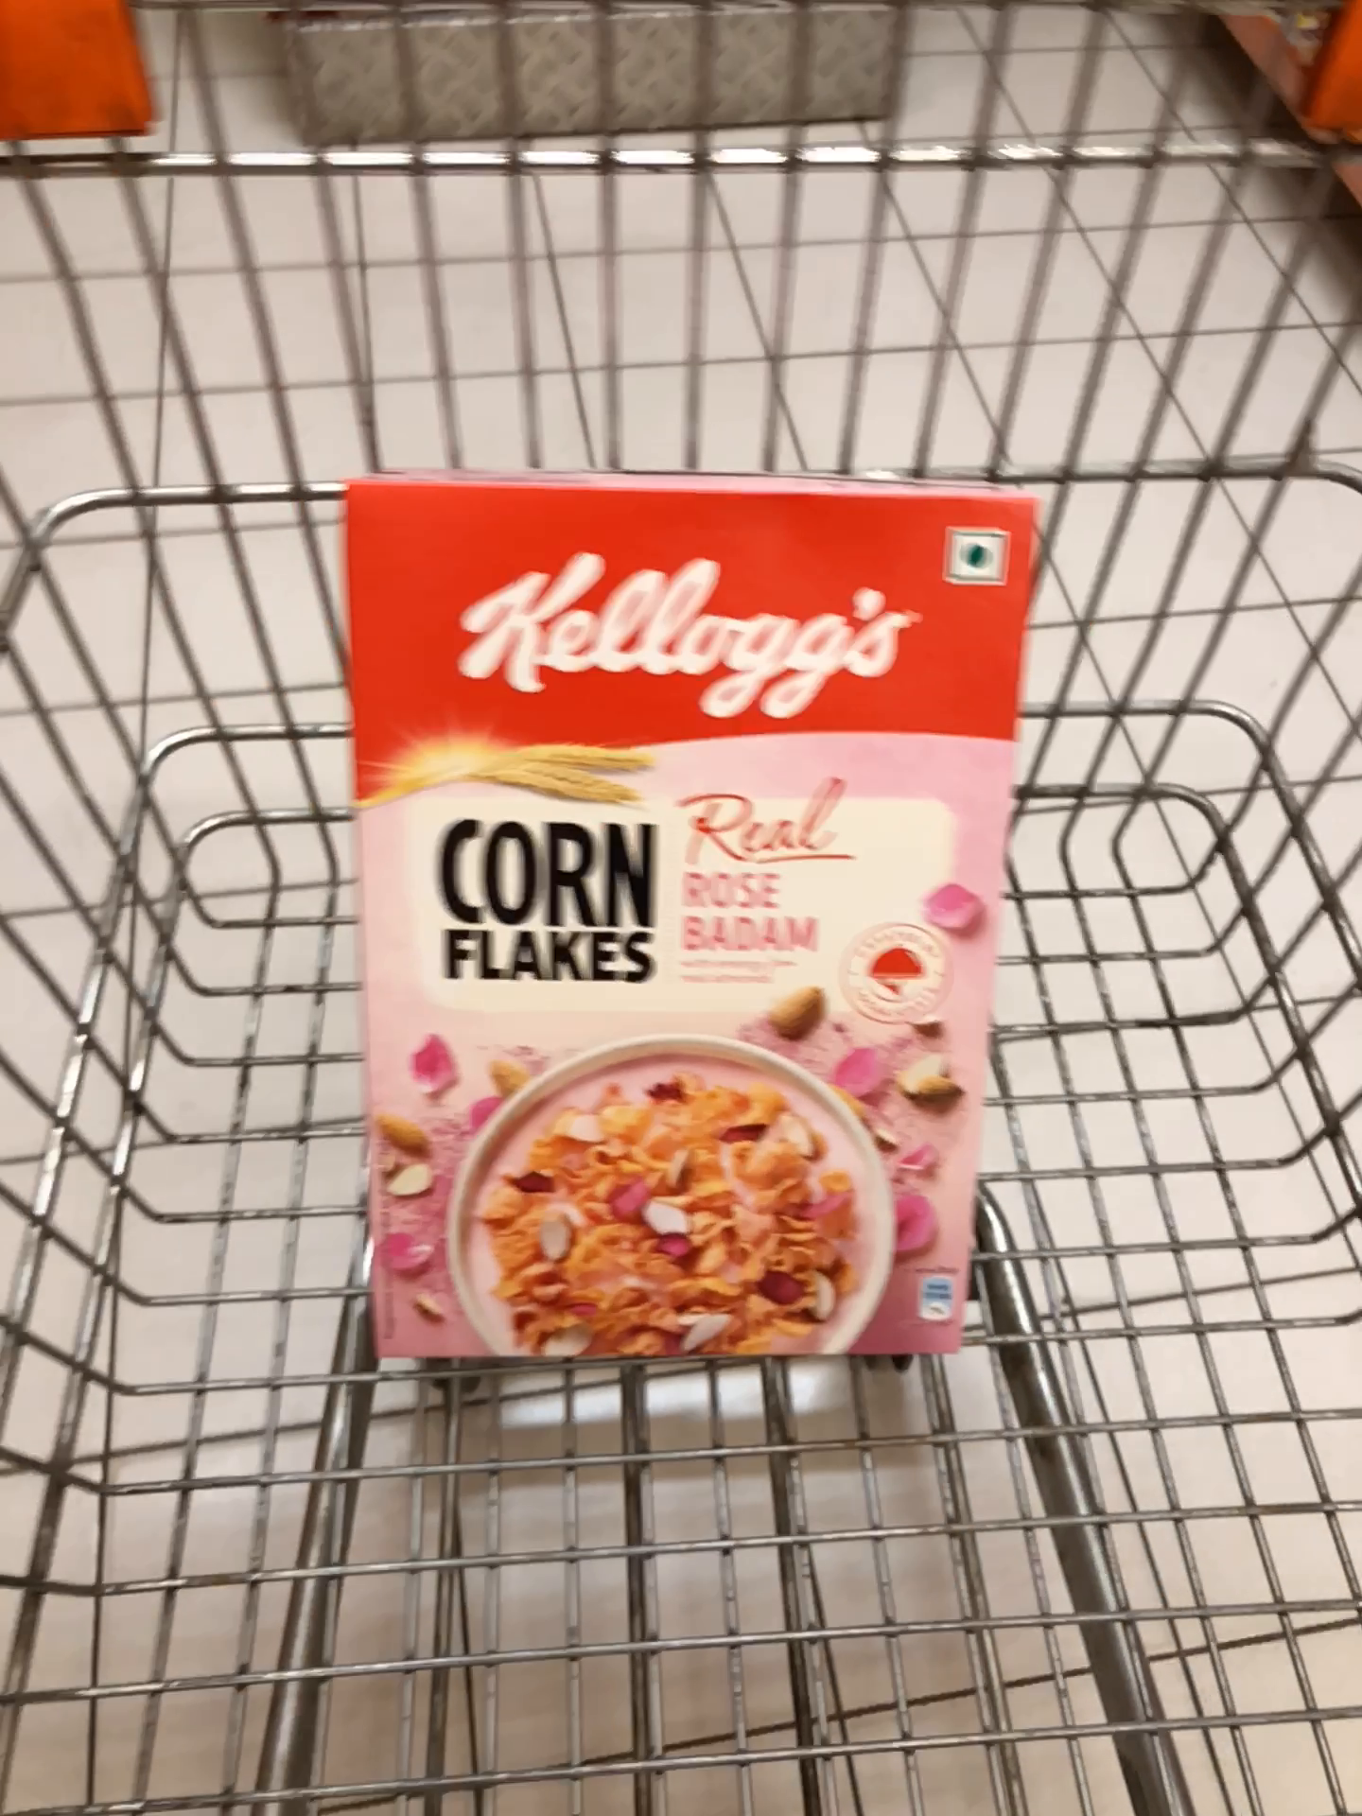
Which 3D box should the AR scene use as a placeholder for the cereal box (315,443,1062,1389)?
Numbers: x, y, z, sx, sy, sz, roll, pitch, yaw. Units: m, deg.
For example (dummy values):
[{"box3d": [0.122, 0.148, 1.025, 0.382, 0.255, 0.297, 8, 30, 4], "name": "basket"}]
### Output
[{"box3d": [-0.002, 0.003, 0.441, 0.180, 0.259, 0.080, 0, 17, -3], "name": "cereal box"}]
